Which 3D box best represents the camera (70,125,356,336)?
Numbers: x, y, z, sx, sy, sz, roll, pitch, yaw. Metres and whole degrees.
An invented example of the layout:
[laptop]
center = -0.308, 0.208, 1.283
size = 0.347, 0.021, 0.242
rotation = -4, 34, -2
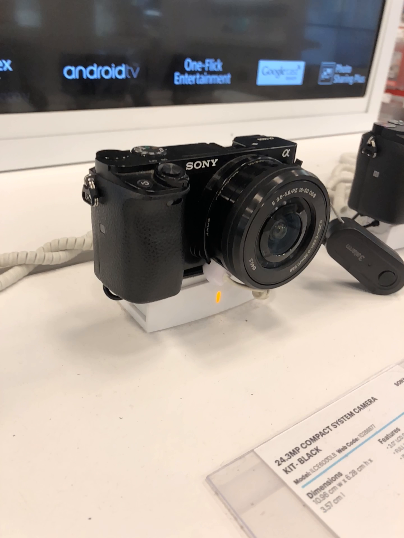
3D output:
[camera]
center = 0.007, -0.031, 0.246
size = 0.130, 0.070, 0.070
rotation = -17, 34, -34
